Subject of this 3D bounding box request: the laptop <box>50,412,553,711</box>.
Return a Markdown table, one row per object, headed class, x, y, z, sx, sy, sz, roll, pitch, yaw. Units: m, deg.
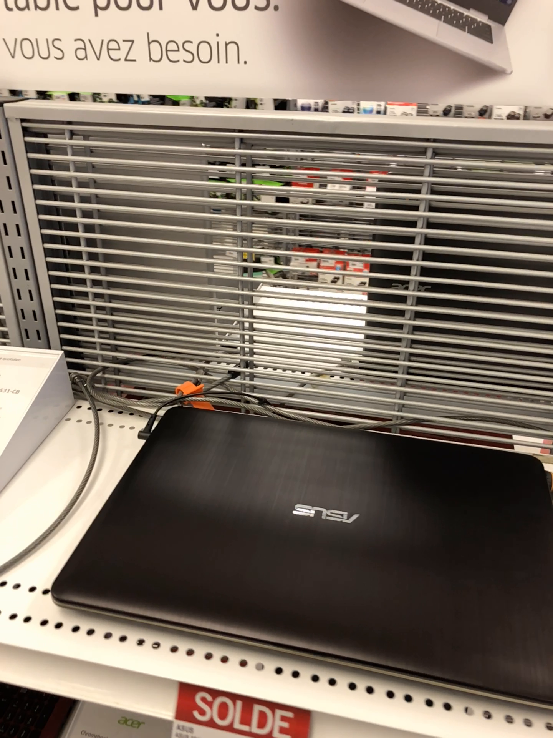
| class | x | y | z | sx | sy | sz | roll | pitch | yaw |
| --- | --- | --- | --- | --- | --- | --- | --- | --- | --- |
| laptop | 0.042 | 0.135 | 0.518 | 0.367 | 0.013 | 0.235 | 8 | 33 | 9 |
